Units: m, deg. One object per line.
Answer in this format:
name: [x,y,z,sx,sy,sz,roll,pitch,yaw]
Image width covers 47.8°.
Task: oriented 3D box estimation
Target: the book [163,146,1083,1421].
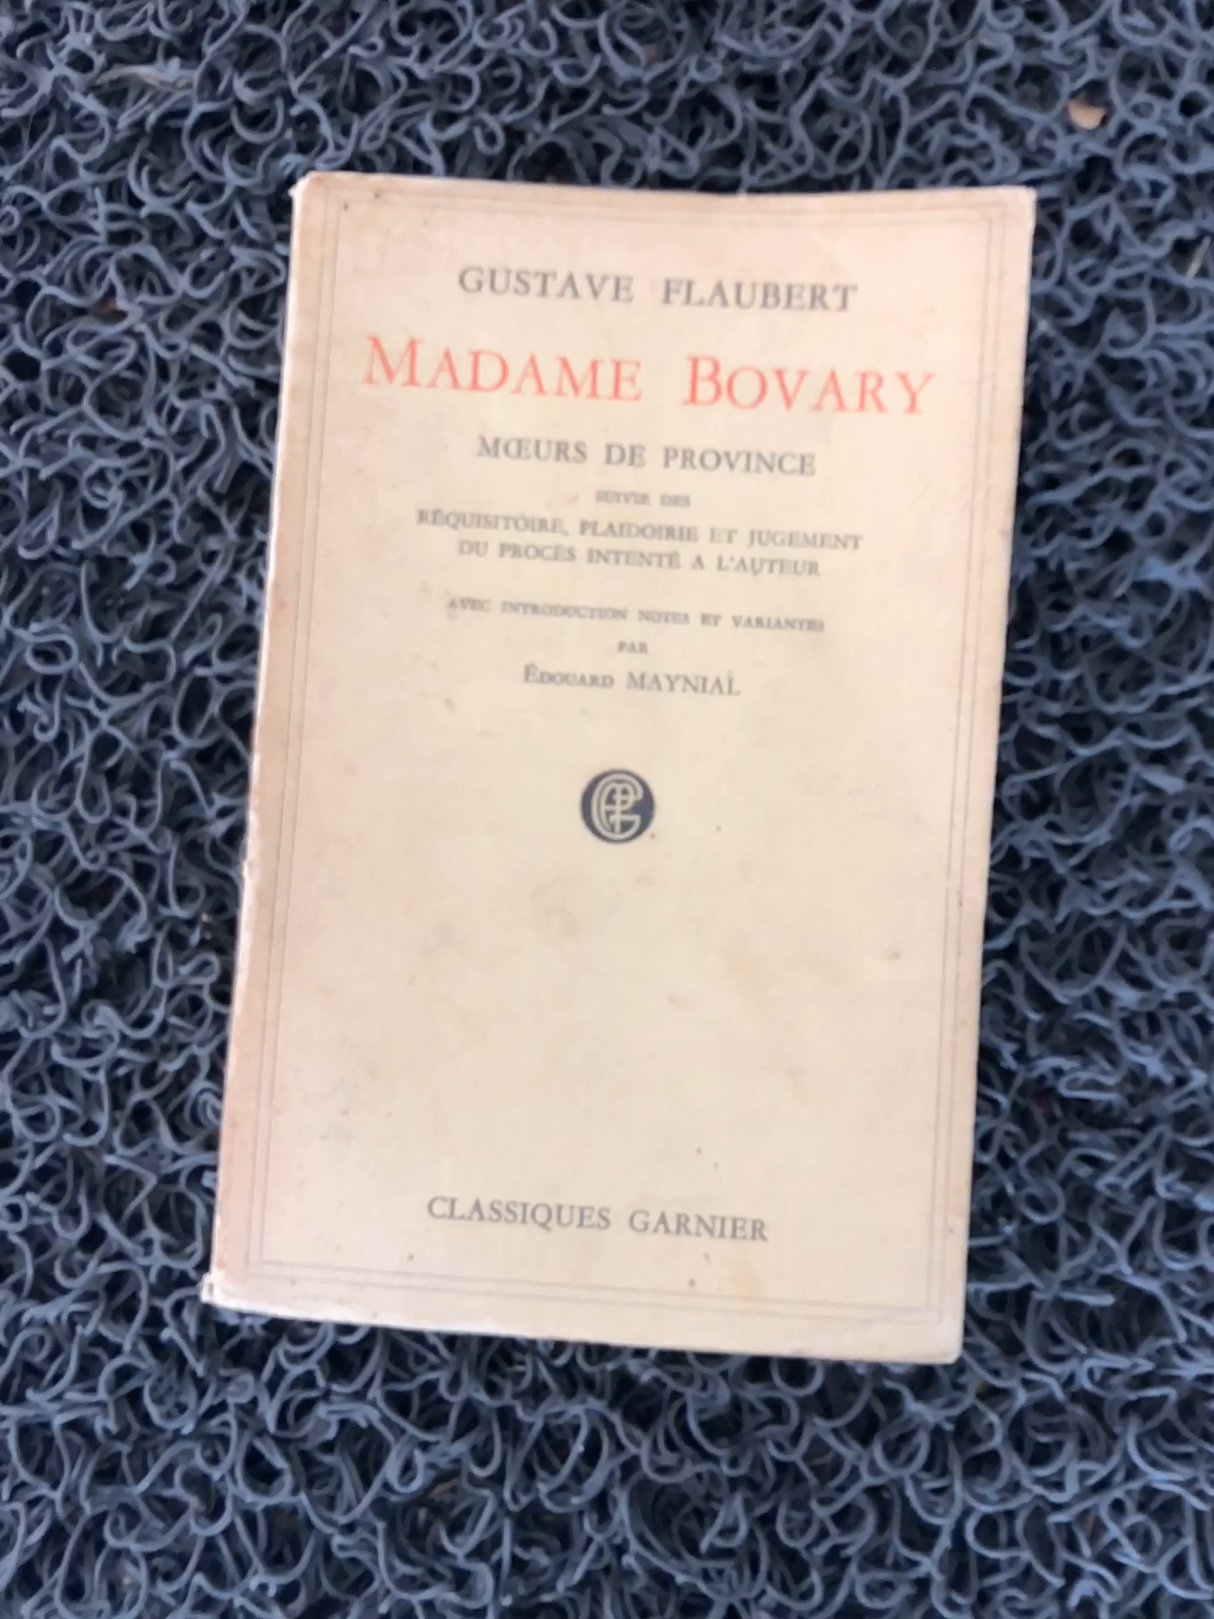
book: [0.004,-0.006,0.218,0.124,0.035,0.180,4,86,0]
